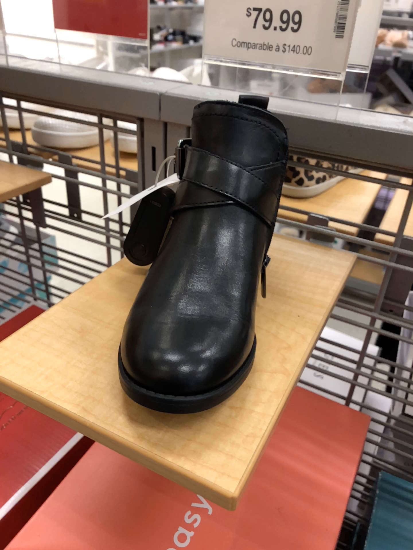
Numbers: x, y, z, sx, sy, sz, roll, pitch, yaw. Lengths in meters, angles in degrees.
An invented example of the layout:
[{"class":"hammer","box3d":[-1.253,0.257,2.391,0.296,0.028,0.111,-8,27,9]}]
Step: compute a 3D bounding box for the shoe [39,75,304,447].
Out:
[{"class":"shoe","box3d":[0.001,-0.035,0.292,0.090,0.133,0.222,9,33,9]}]
